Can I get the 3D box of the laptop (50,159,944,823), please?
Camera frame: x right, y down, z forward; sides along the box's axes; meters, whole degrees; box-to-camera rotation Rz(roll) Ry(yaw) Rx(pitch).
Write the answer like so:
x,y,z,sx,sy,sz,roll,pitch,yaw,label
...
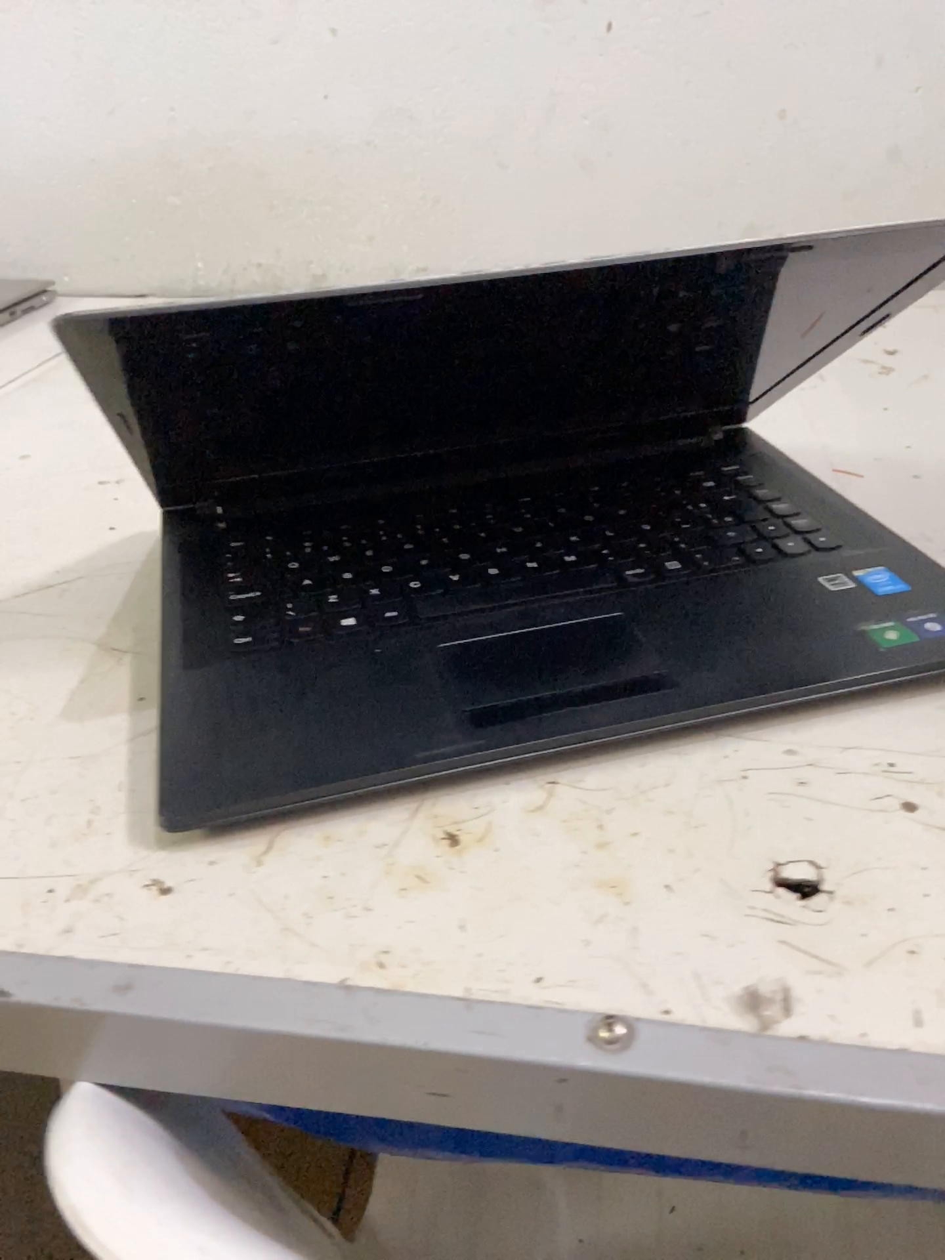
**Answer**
x,y,z,sx,sy,sz,roll,pitch,yaw,label
0.029,-0.093,0.421,0.344,0.148,0.246,-10,33,-11,laptop
